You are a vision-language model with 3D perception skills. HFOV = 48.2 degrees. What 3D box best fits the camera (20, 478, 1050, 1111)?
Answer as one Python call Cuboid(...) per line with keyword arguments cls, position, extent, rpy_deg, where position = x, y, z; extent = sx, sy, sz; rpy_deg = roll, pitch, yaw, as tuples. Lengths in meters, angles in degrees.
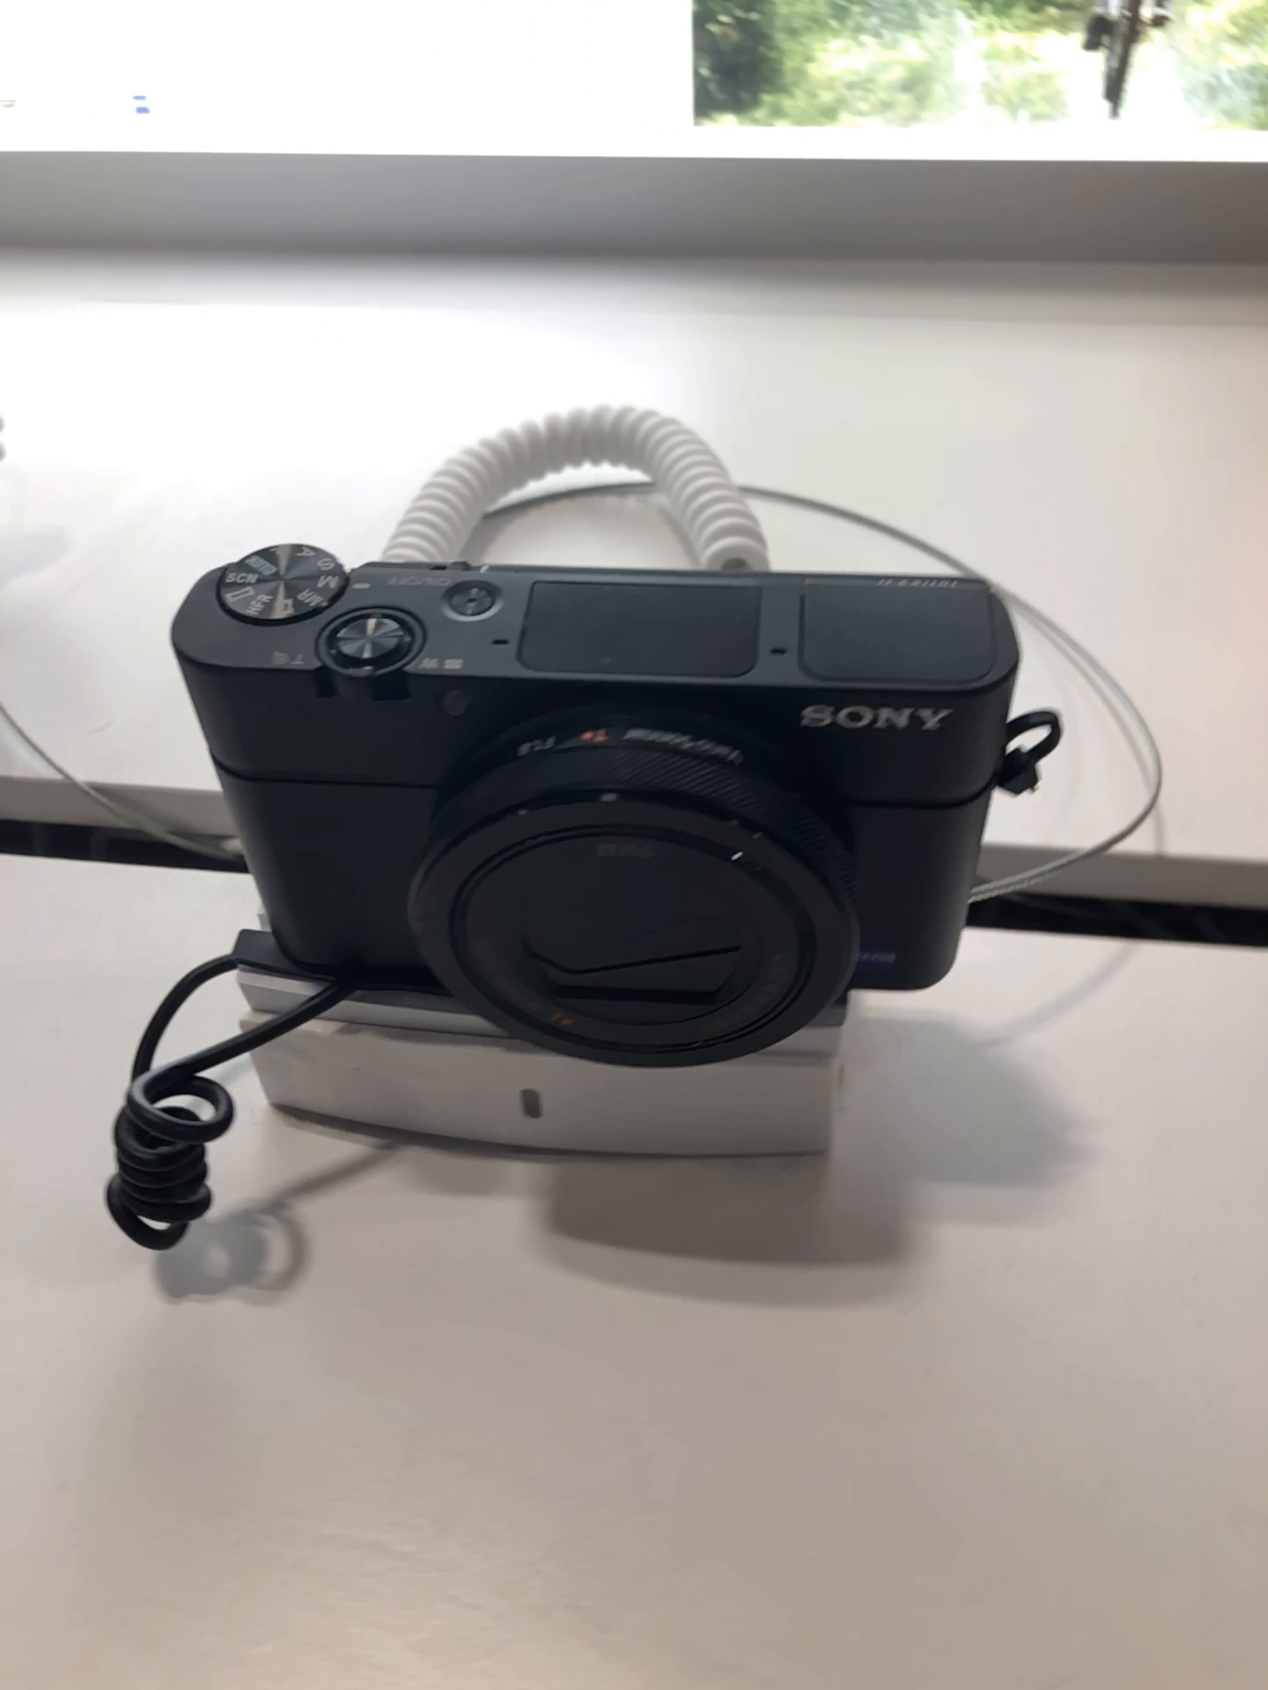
Cuboid(cls="camera", position=(-0.009, -0.006, 0.188), extent=(0.110, 0.070, 0.040), rpy_deg=(3, 45, 6))
